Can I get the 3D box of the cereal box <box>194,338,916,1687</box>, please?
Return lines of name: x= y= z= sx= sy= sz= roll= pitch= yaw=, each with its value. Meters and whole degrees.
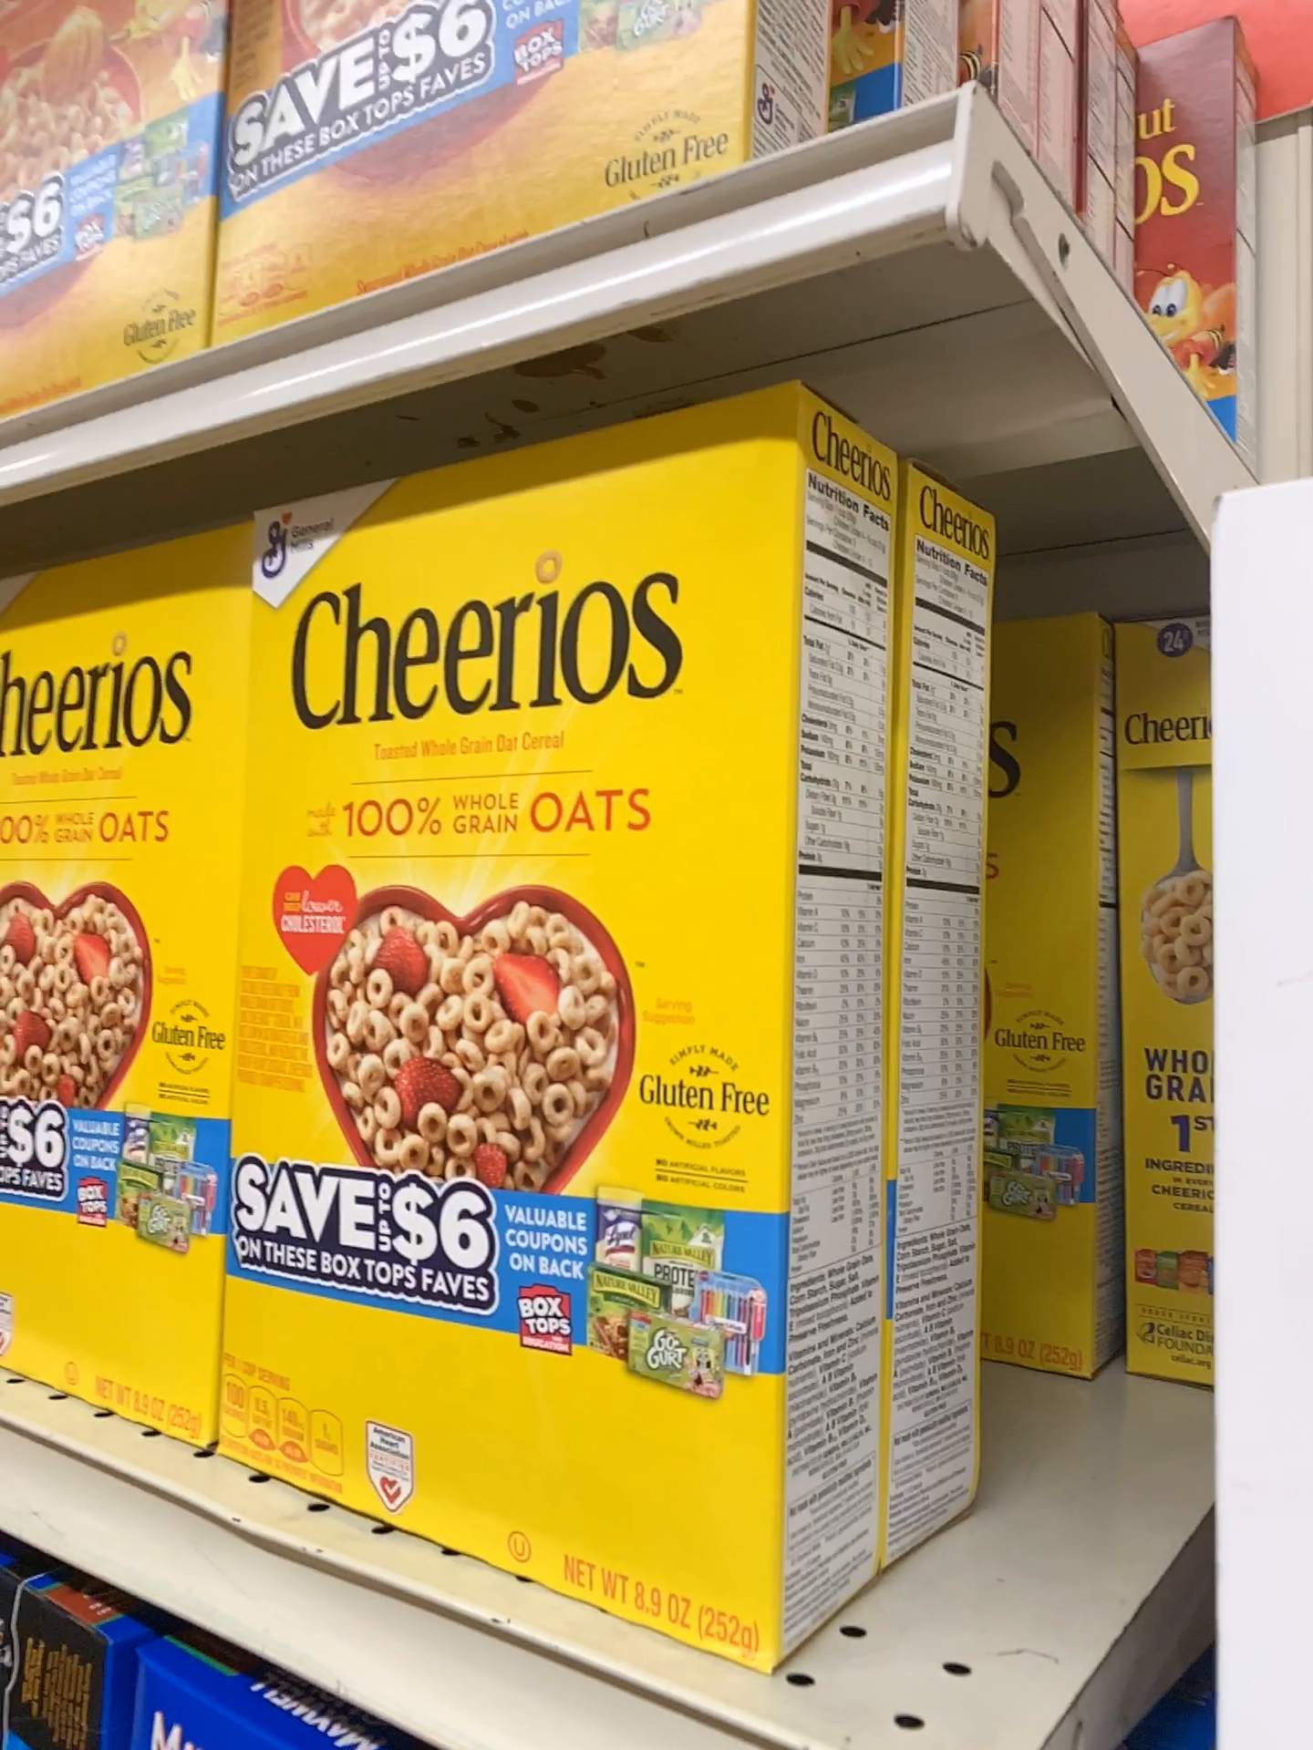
cereal box: x=-0.034 y=0.025 z=0.347 sx=0.190 sy=0.270 sz=0.050 roll=0 pitch=-4 yaw=36
